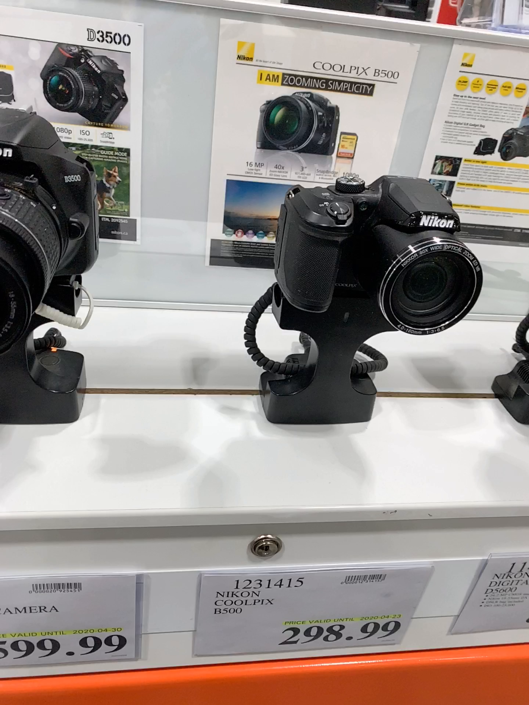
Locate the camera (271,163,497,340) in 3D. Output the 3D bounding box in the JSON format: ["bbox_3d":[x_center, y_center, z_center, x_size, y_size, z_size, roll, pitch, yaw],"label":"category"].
[{"bbox_3d":[0.069,-0.065,0.354,0.110,0.089,0.071,0,33,-11],"label":"camera"}]
